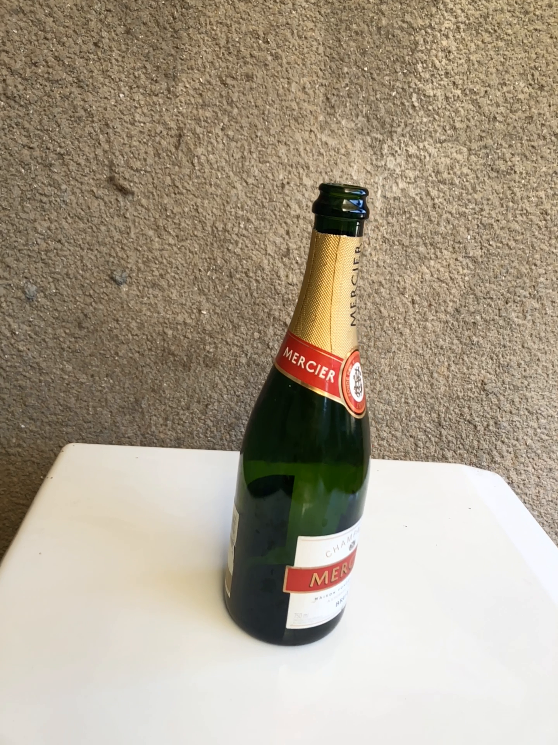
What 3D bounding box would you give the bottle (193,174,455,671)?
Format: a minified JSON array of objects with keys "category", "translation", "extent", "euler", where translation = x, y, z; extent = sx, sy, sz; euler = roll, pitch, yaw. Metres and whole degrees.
[{"category":"bottle","translation":[0.022,0.029,0.401],"extent":[0.090,0.289,0.101],"euler":[20,24,31]}]
